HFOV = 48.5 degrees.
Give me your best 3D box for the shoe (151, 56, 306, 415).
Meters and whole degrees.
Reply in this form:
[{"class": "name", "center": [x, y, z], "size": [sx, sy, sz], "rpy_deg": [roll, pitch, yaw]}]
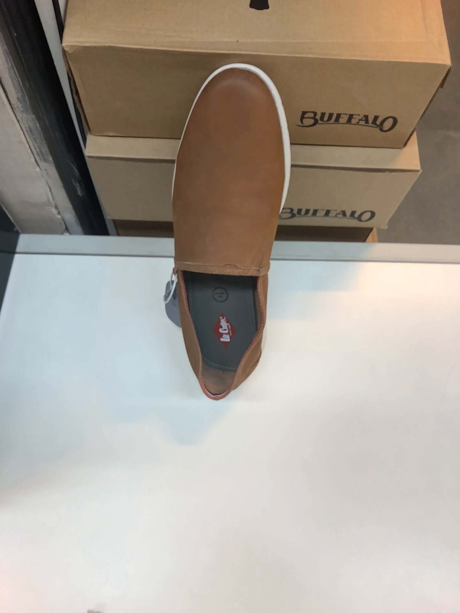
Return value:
[{"class": "shoe", "center": [-0.002, -0.071, 0.509], "size": [0.113, 0.310, 0.149], "rpy_deg": [7, 25, 5]}]
